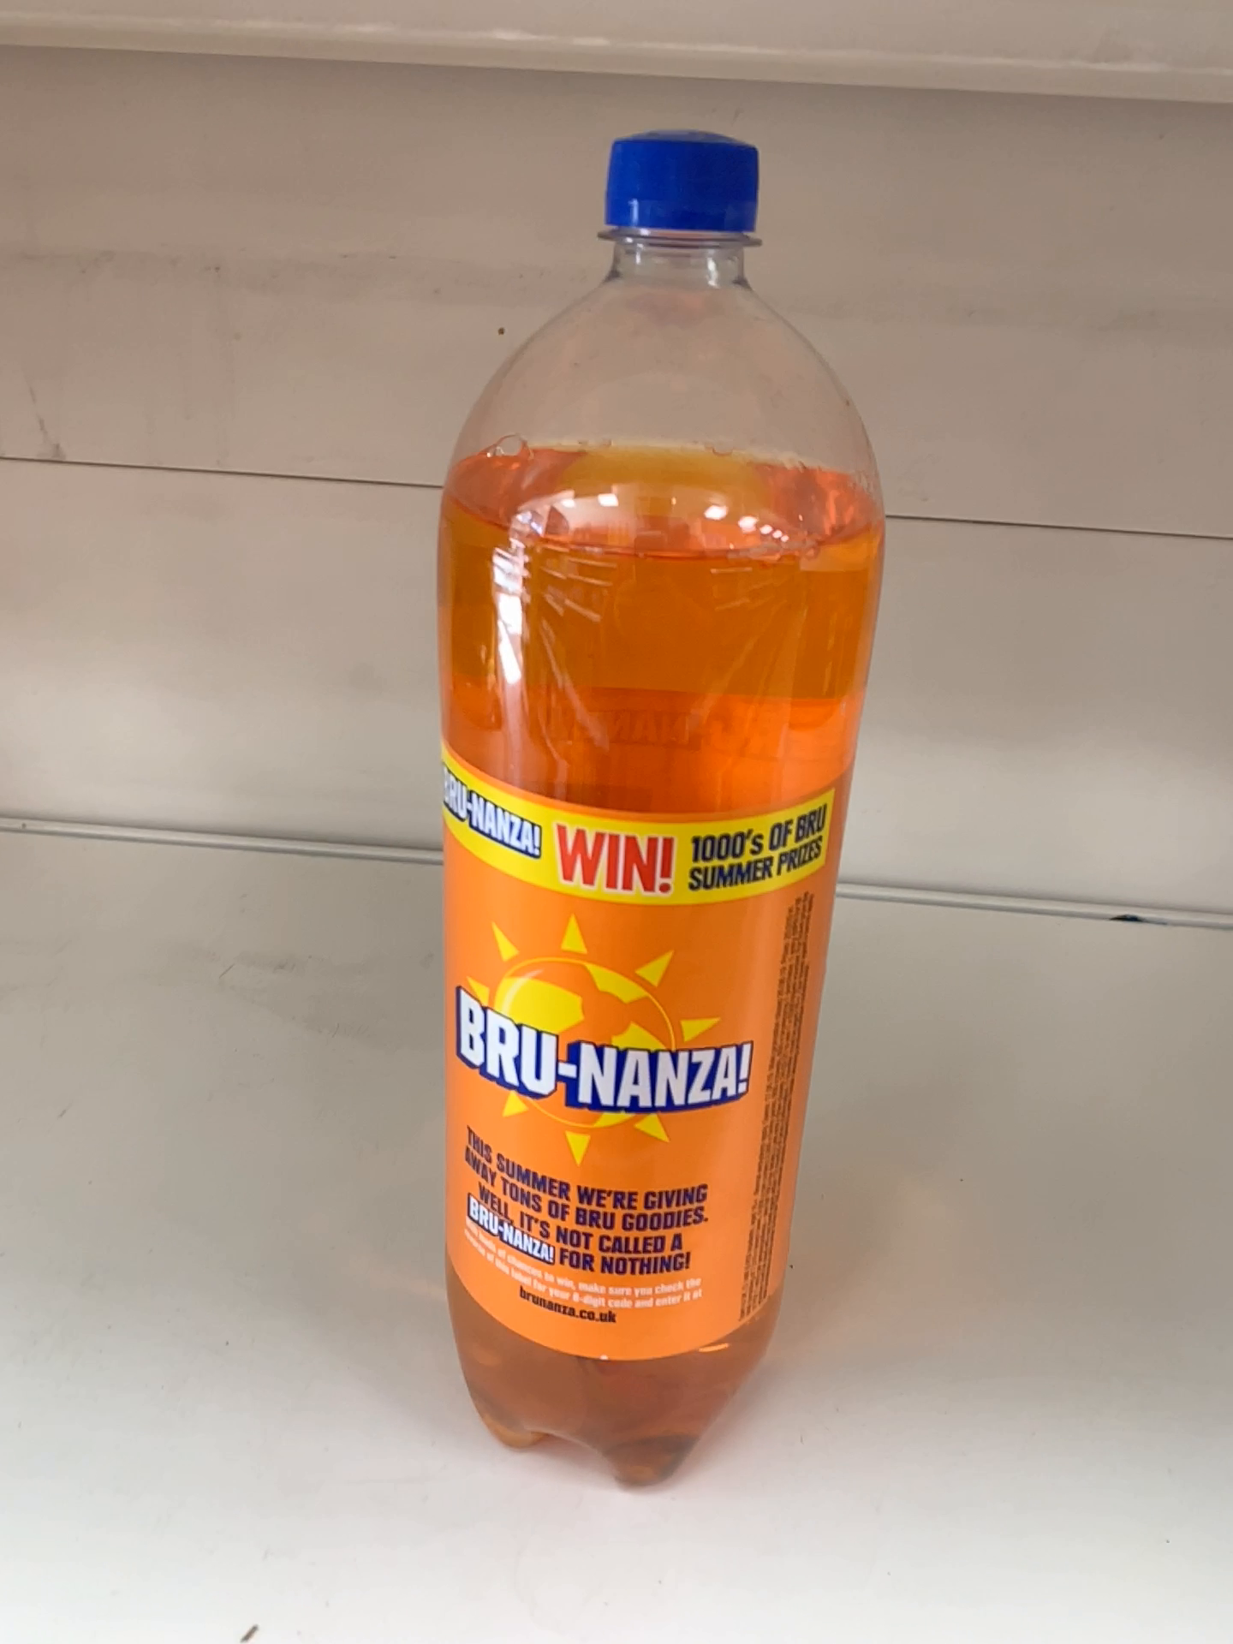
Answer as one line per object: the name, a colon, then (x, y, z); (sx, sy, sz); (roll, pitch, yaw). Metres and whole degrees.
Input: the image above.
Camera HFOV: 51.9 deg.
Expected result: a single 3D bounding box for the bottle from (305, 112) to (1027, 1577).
bottle: (0.011, 0.015, 0.316); (0.110, 0.327, 0.111); (2, 27, -1)
